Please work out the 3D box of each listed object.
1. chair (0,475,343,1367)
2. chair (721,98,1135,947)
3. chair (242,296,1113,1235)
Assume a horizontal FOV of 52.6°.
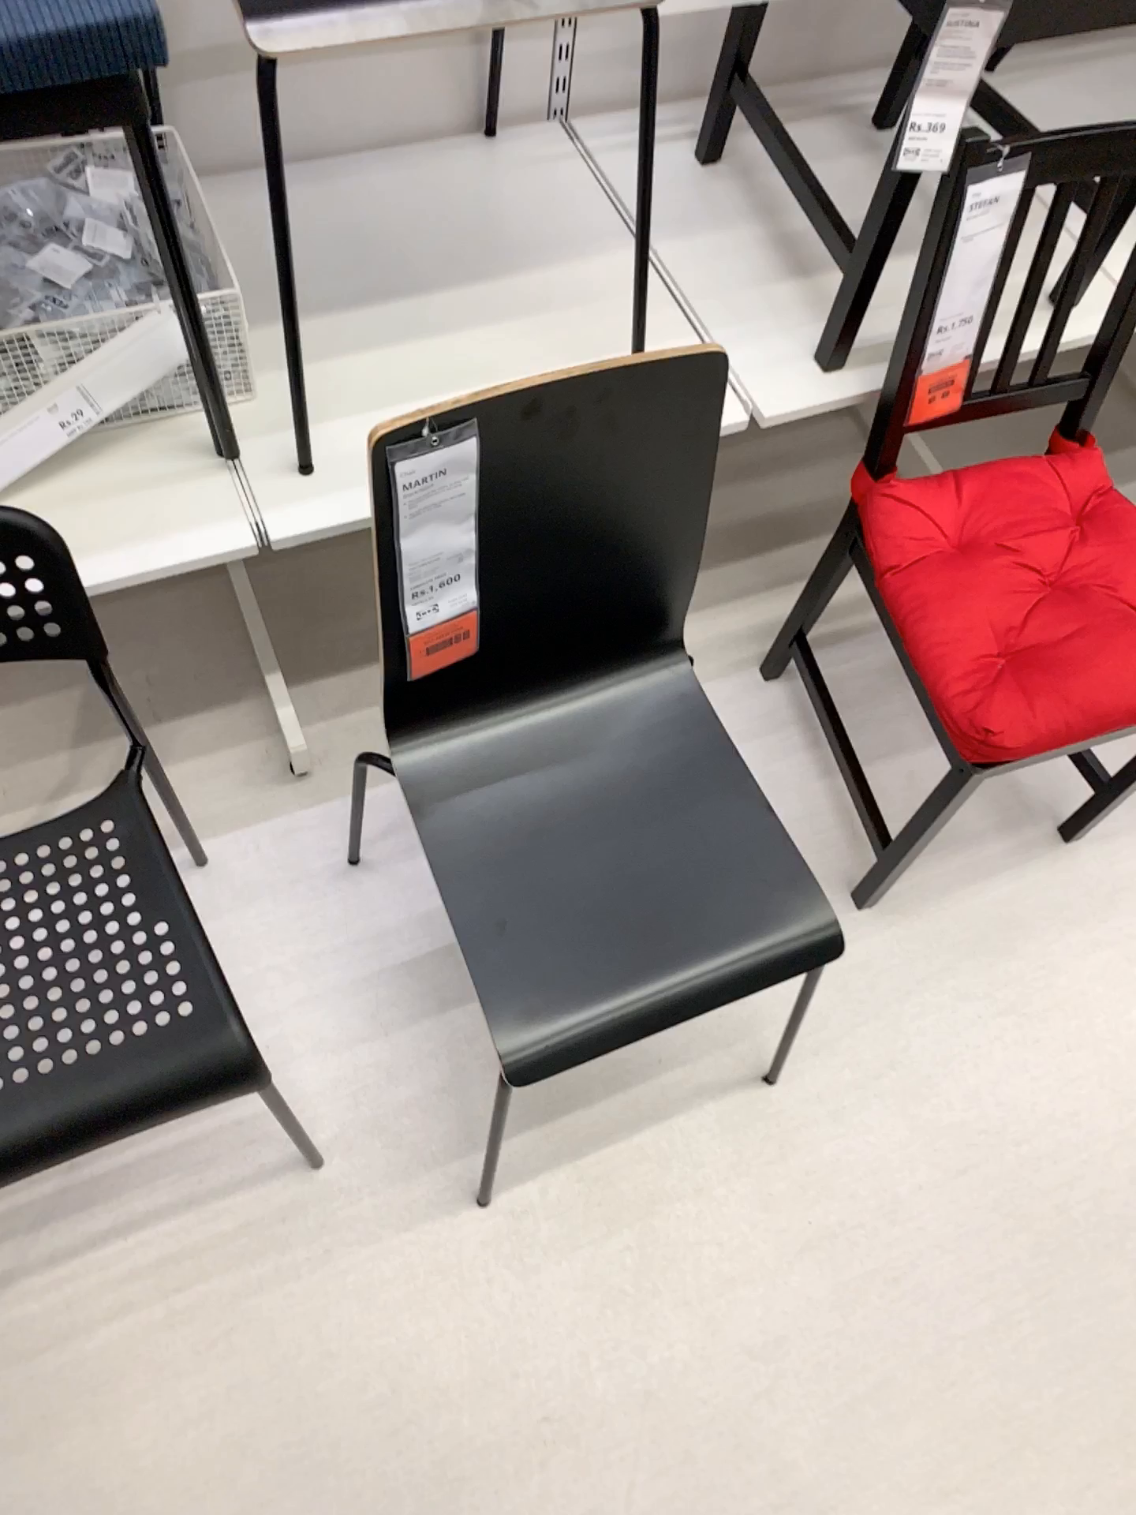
[{"bbox_3d":[-0.560,0.218,1.148,0.470,0.728,0.531,-18,65,-16],"label":"chair"},{"bbox_3d":[0.581,-0.206,1.390,0.450,0.858,0.481,-17,64,-15],"label":"chair"},{"bbox_3d":[0.022,0.079,1.257,0.480,0.828,0.591,-18,65,-16],"label":"chair"}]
